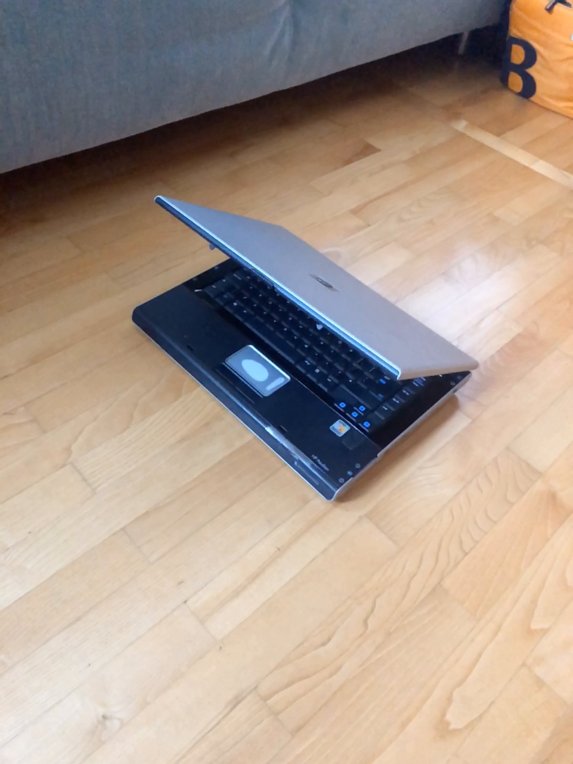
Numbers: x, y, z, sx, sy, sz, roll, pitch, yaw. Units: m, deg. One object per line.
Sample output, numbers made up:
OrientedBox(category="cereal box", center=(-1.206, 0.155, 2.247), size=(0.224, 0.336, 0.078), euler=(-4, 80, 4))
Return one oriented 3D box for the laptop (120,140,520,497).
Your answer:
OrientedBox(category="laptop", center=(0.027, -0.100, 0.756), size=(0.269, 0.147, 0.362), euler=(-35, 61, -30))
